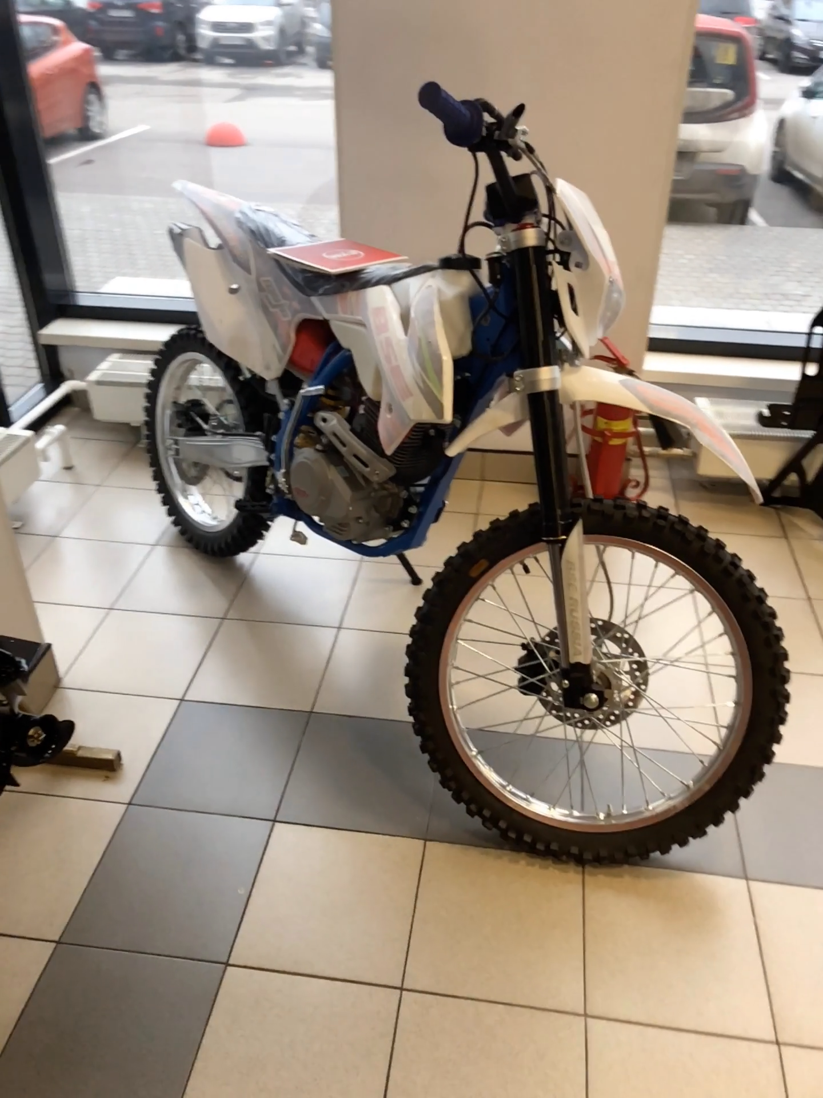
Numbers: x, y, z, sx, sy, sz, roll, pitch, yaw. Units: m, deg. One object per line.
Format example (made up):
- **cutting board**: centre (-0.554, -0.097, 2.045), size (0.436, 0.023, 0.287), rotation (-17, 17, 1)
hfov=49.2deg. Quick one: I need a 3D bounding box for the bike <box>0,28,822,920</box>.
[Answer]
- **bike**: centre (0.050, -0.372, 2.028), size (1.848, 1.220, 0.845), rotation (28, 41, 33)
